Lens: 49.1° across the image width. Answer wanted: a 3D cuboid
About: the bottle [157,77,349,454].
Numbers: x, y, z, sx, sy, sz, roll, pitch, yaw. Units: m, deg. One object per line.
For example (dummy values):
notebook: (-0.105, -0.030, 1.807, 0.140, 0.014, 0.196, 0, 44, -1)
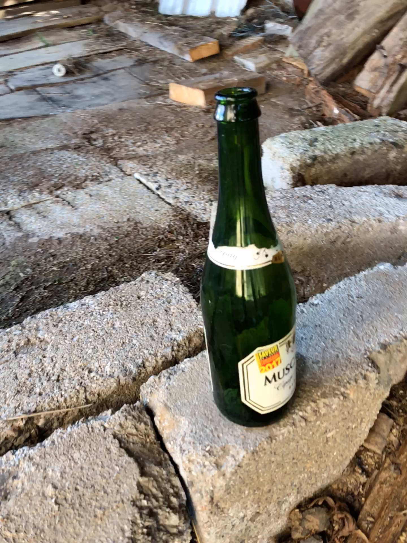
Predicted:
bottle: (0.040, 0.006, 0.368, 0.090, 0.288, 0.091, -2, 33, 2)
